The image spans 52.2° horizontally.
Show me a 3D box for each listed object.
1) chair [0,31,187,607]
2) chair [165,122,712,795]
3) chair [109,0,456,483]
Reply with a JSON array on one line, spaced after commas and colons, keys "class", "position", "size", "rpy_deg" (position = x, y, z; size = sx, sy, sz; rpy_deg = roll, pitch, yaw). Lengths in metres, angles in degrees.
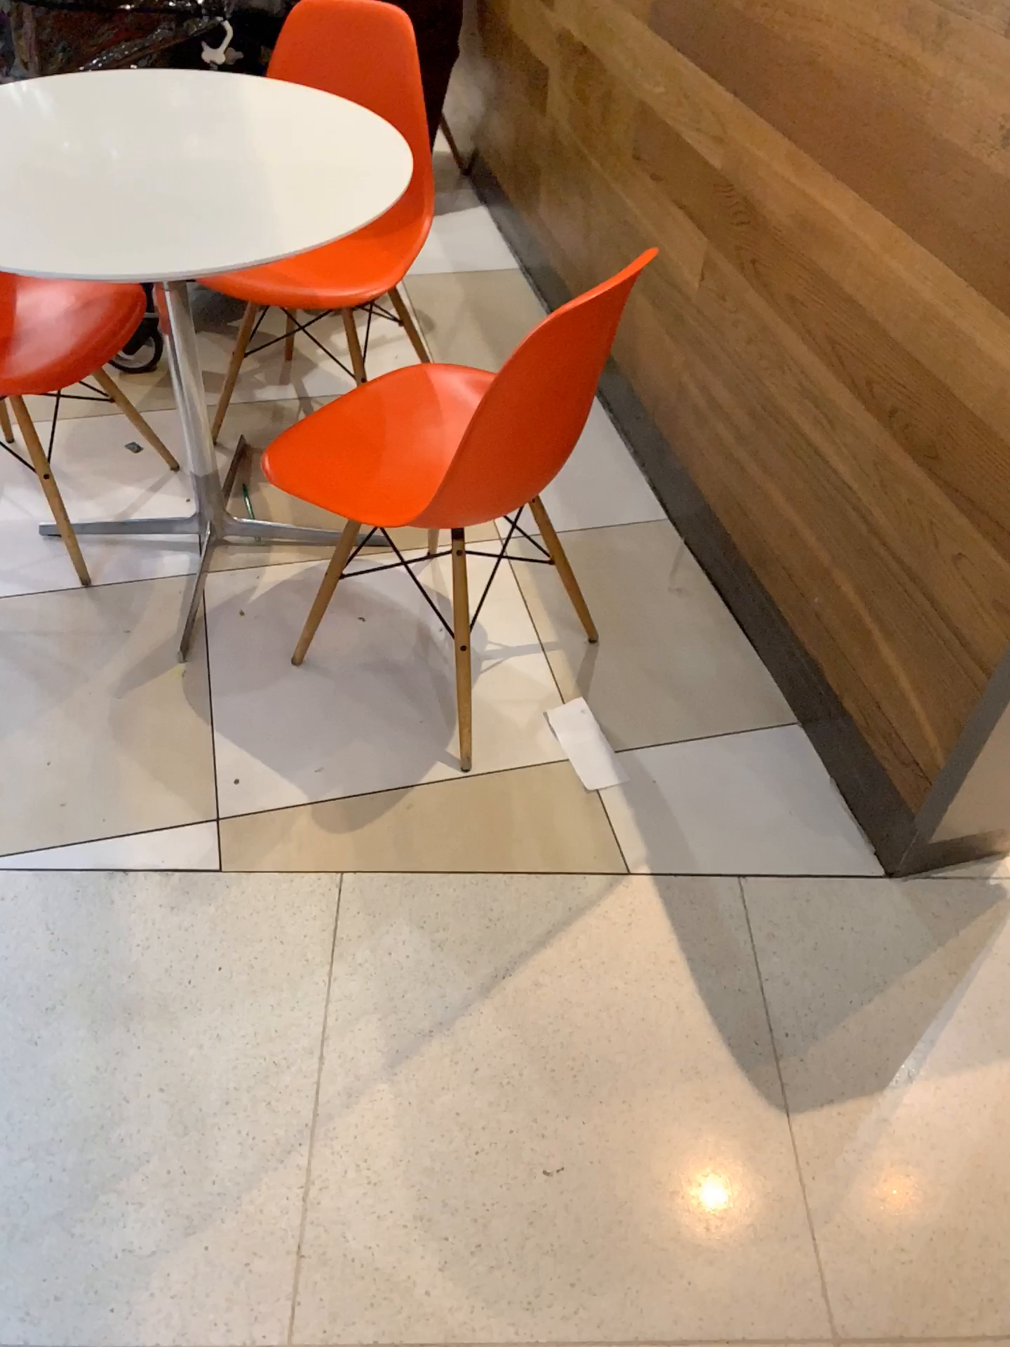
[{"class": "chair", "position": [-0.943, -0.587, 1.779], "size": [0.510, 0.762, 0.452], "rpy_deg": [9, 45, 5]}, {"class": "chair", "position": [-0.093, -0.316, 1.556], "size": [0.522, 0.742, 0.450], "rpy_deg": [29, 50, 23]}, {"class": "chair", "position": [-0.390, -0.883, 2.105], "size": [0.448, 0.742, 0.525], "rpy_deg": [11, 45, 7]}]
